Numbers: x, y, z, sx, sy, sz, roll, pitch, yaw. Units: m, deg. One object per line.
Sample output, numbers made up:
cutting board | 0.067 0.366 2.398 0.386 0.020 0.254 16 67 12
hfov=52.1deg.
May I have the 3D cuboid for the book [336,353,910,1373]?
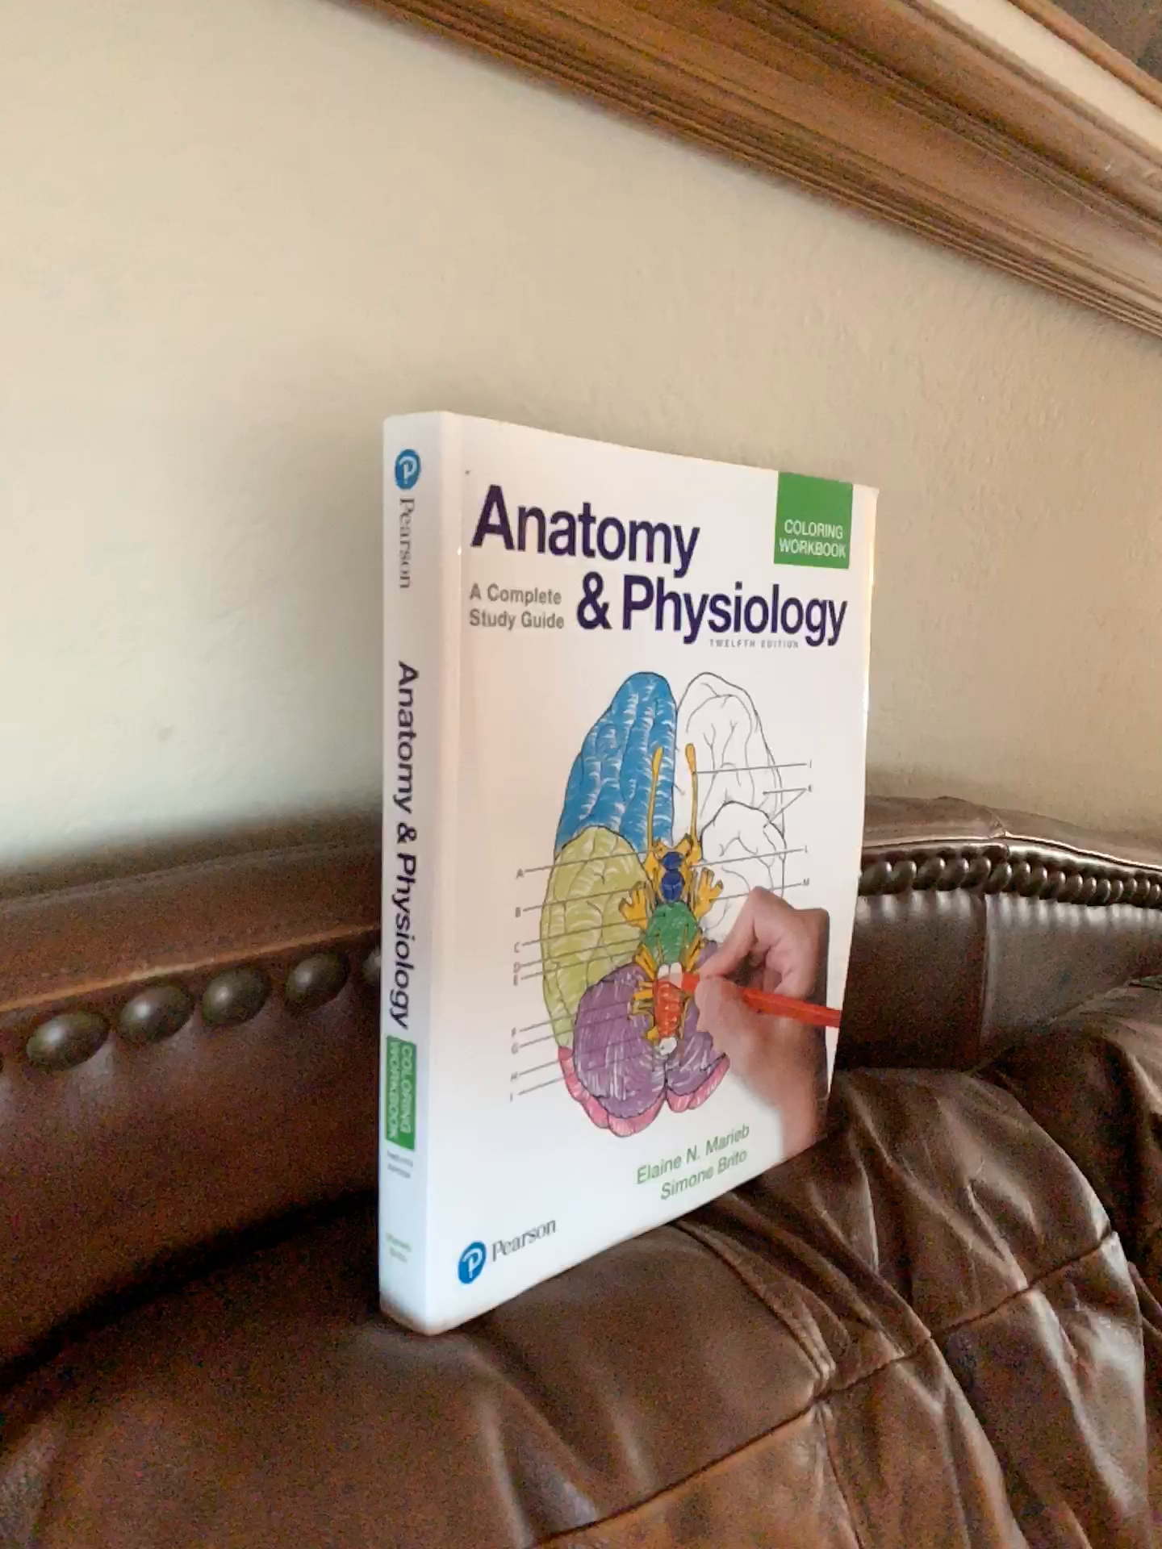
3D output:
book | 0.027 0.019 0.428 0.221 0.290 0.060 -7 11 -43
